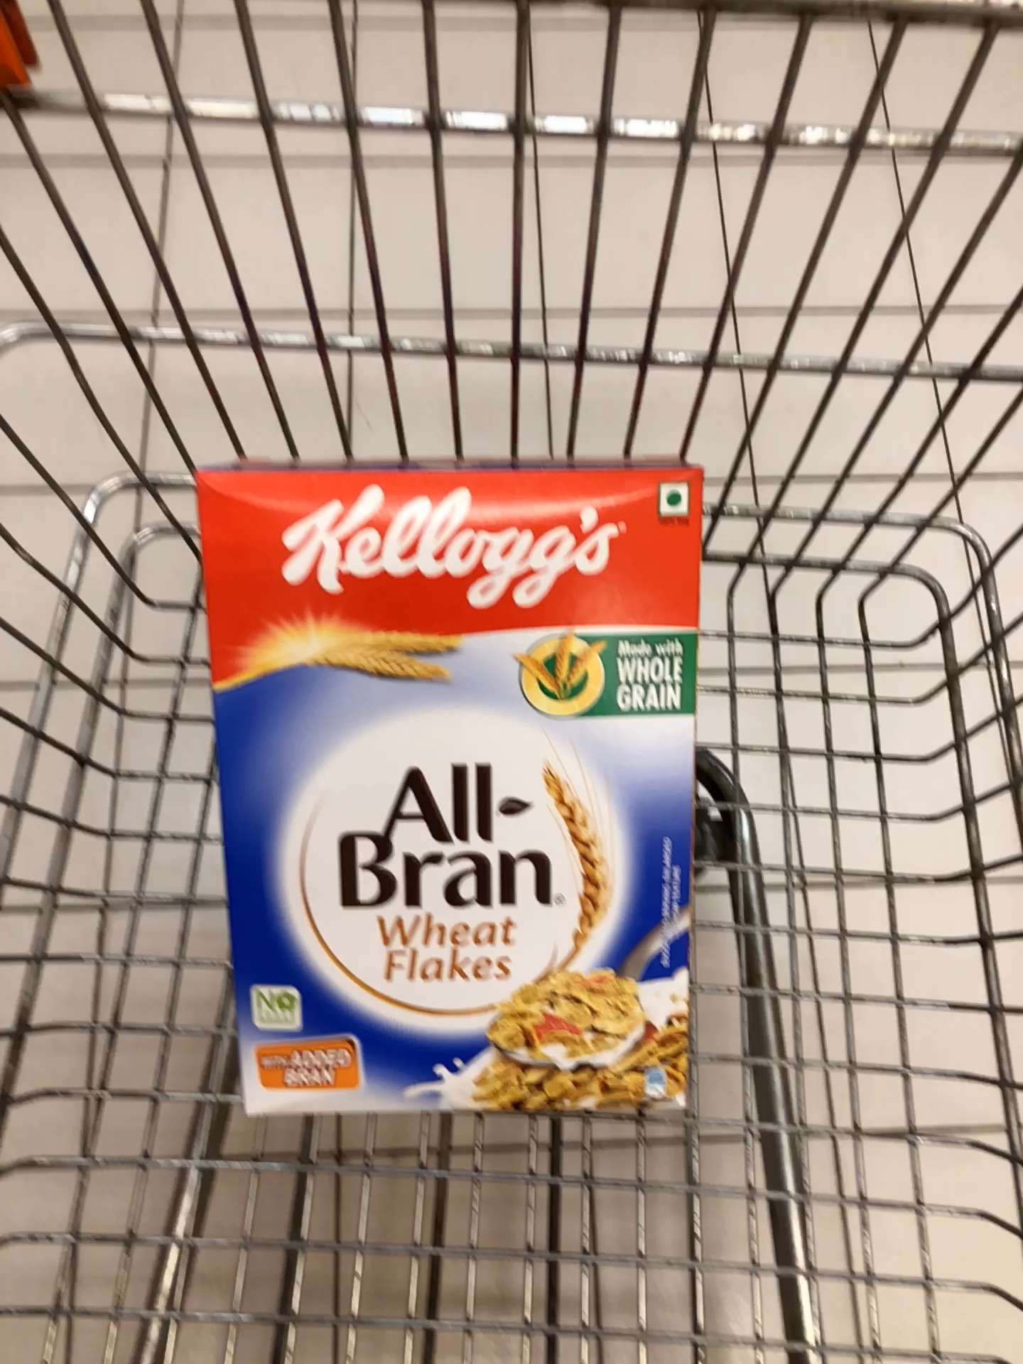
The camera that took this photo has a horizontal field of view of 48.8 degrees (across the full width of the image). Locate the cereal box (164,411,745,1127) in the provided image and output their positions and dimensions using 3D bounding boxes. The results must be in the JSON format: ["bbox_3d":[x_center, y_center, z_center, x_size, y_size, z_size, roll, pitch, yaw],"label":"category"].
[{"bbox_3d":[-0.020,0.034,0.446,0.190,0.080,0.269,0,107,-2],"label":"cereal box"}]
